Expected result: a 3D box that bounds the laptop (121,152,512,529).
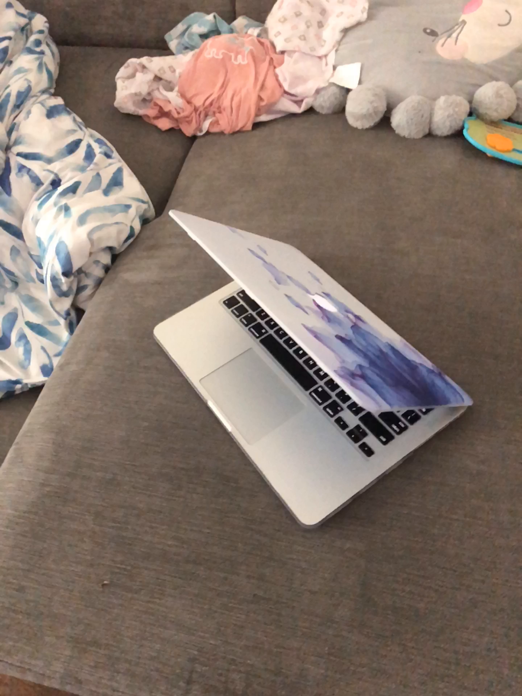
[{"bbox_3d":[0.039,-0.027,0.592,0.217,0.137,0.309,-32,56,-17],"label":"laptop"}]
